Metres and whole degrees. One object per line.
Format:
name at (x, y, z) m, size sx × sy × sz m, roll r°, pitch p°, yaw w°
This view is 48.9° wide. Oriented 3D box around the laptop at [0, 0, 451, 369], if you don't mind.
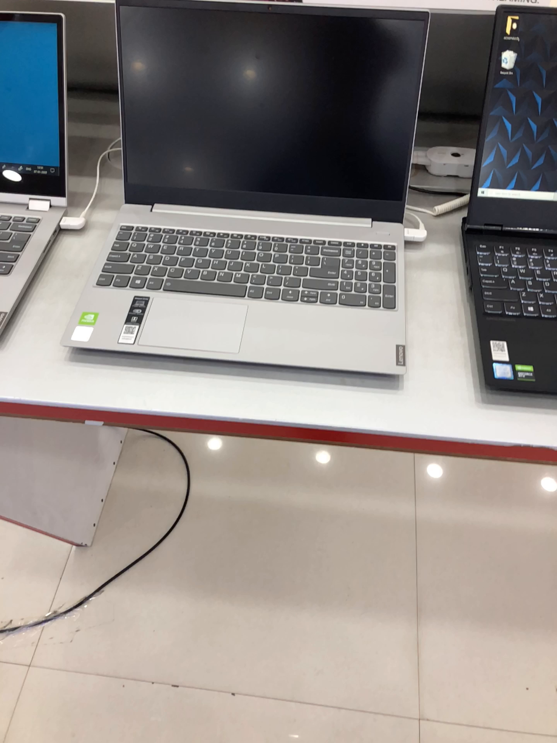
laptop at (-0.027, -0.209, 0.637) m, size 0.341 × 0.196 × 0.346 m, roll 4°, pitch 51°, yaw 4°
